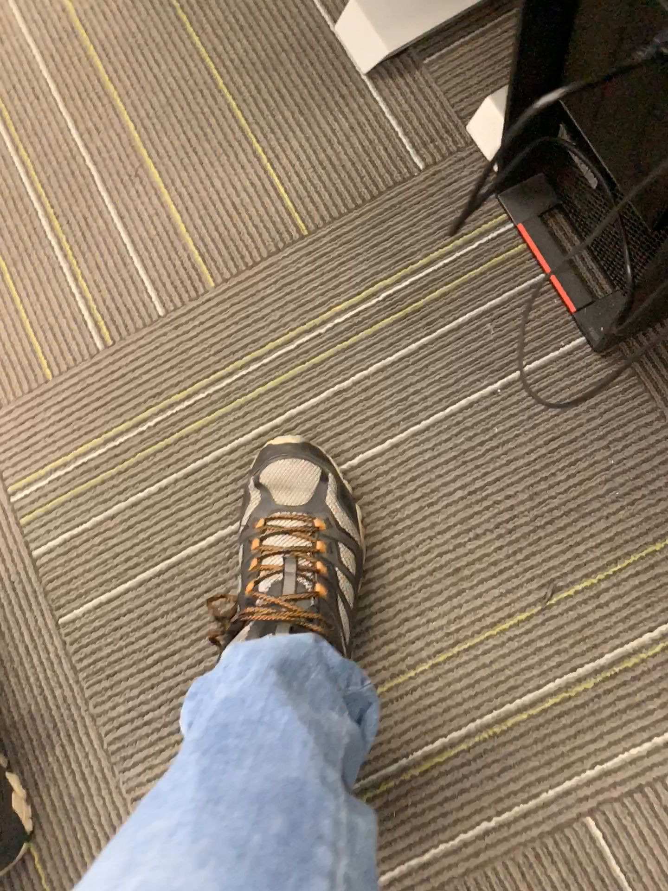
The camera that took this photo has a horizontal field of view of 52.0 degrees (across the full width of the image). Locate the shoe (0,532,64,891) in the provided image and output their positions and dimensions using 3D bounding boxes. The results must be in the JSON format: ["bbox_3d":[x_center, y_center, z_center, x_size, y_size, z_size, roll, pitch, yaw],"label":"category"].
[{"bbox_3d":[-0.386,0.259,0.649,0.125,0.095,0.323,-24,77,4],"label":"shoe"}]

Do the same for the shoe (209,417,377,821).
[{"bbox_3d":[-0.036,0.147,0.616,0.122,0.095,0.322,-4,79,8],"label":"shoe"}]
